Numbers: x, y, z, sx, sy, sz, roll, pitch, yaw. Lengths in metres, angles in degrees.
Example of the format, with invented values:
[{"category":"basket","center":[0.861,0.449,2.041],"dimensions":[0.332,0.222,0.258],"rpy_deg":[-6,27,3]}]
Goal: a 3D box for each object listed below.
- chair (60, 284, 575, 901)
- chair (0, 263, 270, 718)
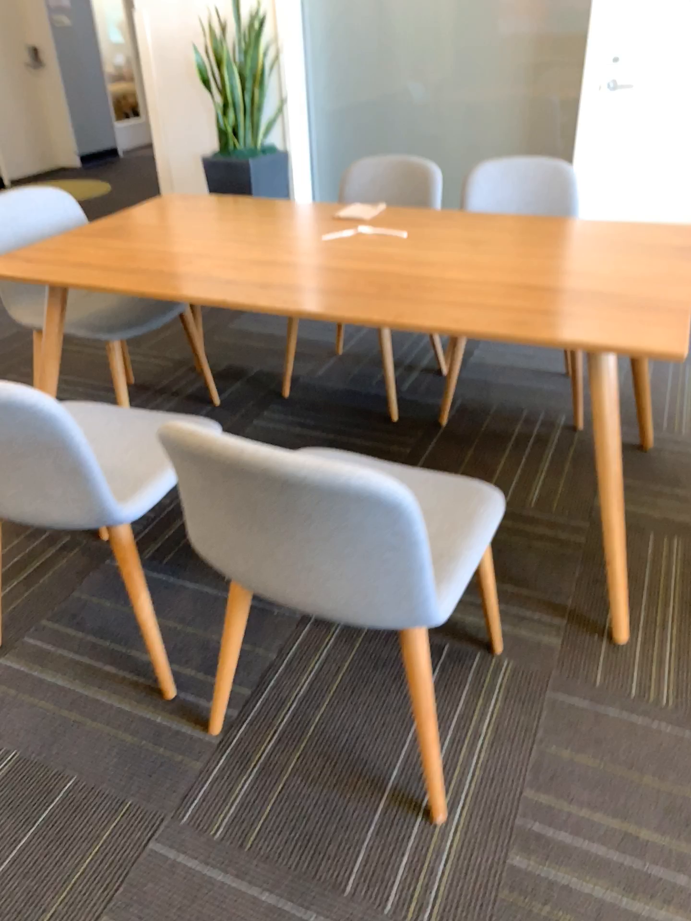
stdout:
[{"category":"chair","center":[0.007,0.188,1.298],"dimensions":[0.591,0.795,0.572],"rpy_deg":[13,35,23]},{"category":"chair","center":[-0.582,0.036,1.621],"dimensions":[0.571,0.776,0.532],"rpy_deg":[11,34,20]}]
